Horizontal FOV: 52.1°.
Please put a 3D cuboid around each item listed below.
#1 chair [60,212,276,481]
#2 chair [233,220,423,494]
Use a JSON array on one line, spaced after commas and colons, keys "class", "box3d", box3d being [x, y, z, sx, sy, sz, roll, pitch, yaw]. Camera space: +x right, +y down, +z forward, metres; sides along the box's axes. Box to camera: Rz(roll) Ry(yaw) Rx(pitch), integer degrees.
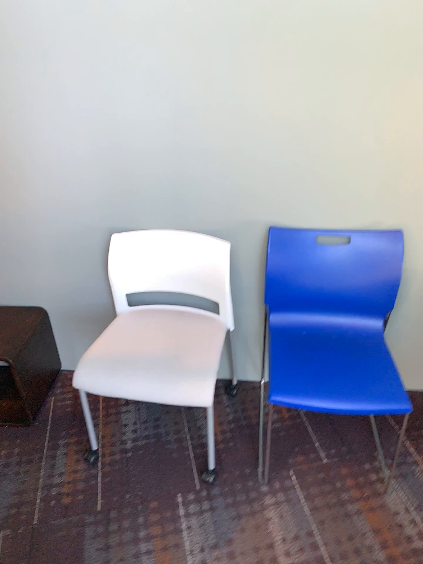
[{"class": "chair", "box3d": [-0.156, 0.233, 1.623, 0.590, 0.795, 0.563, 3, 29, -4]}, {"class": "chair", "box3d": [0.409, 0.243, 1.681, 0.590, 0.796, 0.623, 3, 25, 7]}]
